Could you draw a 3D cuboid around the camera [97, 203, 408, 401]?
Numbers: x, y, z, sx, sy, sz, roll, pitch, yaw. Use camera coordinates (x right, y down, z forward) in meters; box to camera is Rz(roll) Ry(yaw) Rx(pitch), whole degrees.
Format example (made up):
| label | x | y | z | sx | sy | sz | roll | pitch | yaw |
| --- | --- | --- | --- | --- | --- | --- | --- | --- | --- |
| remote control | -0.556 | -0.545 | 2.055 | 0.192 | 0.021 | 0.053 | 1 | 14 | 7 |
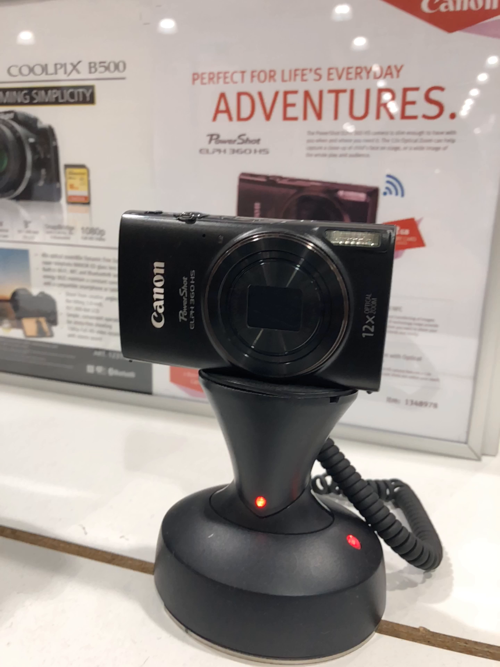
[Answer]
| label | x | y | z | sx | sy | sz | roll | pitch | yaw |
| --- | --- | --- | --- | --- | --- | --- | --- | --- | --- |
| camera | 0.000 | -0.016 | 0.213 | 0.110 | 0.060 | 0.030 | 7 | 15 | 16 |
